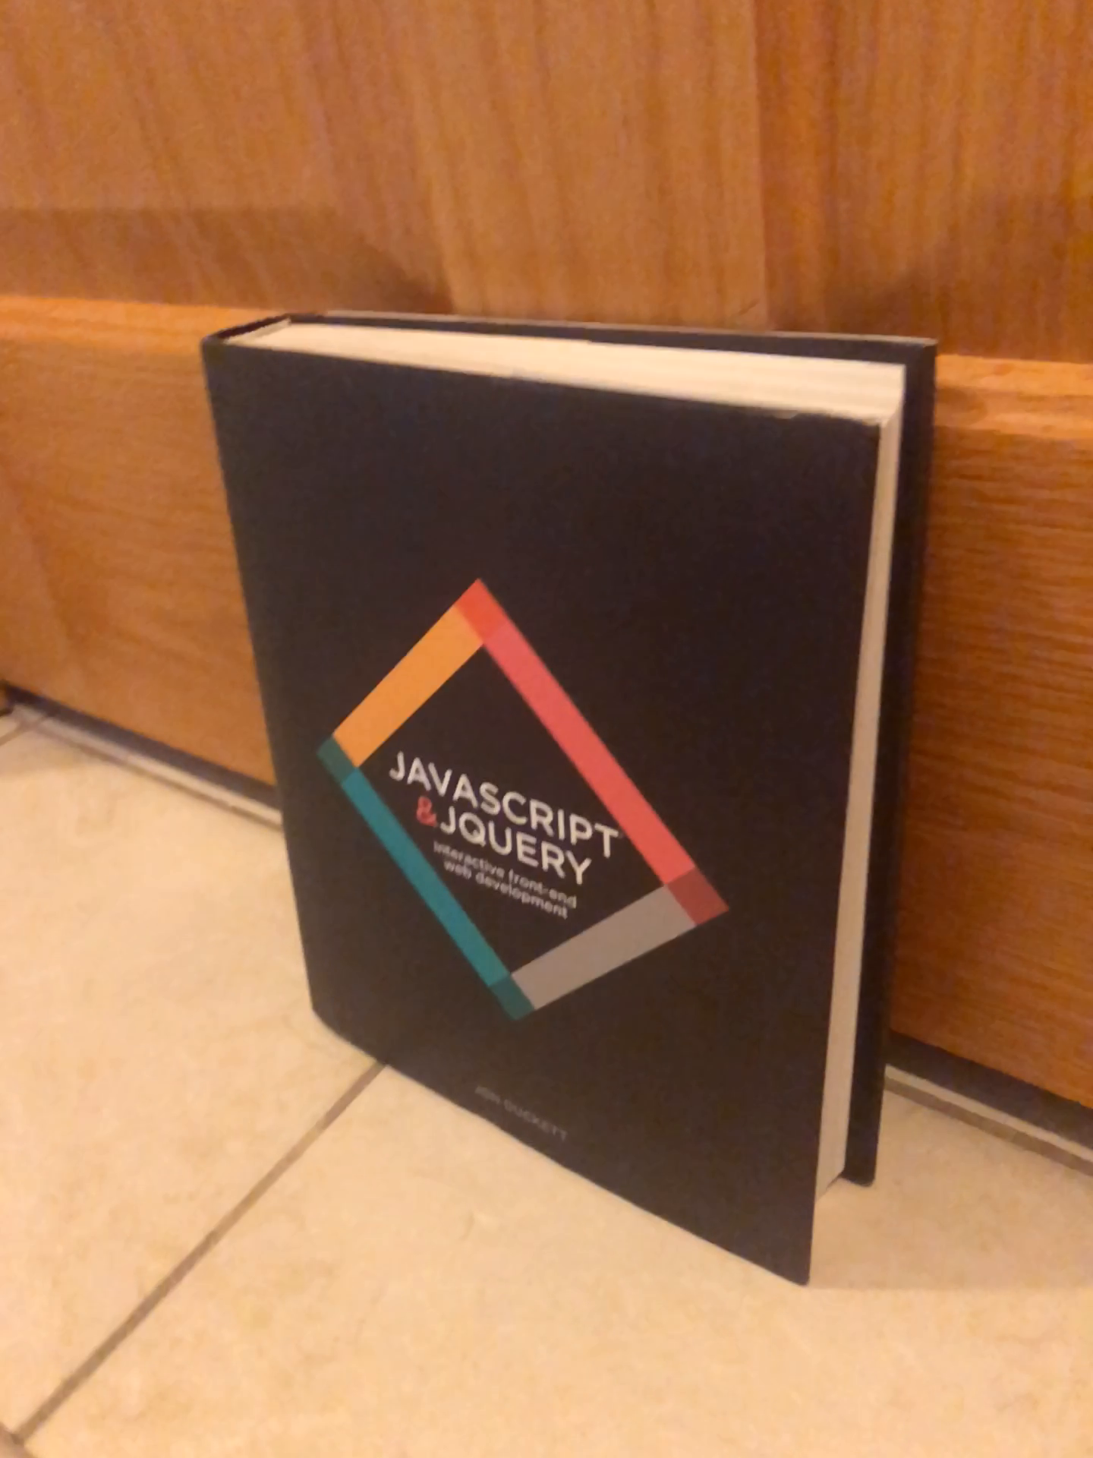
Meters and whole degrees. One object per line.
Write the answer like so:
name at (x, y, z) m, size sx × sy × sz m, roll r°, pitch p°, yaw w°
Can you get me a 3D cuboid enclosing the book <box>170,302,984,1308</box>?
book at (0.001, 0.012, 0.346) m, size 0.200 × 0.237 × 0.060 m, roll 17°, pitch 32°, yaw 34°
